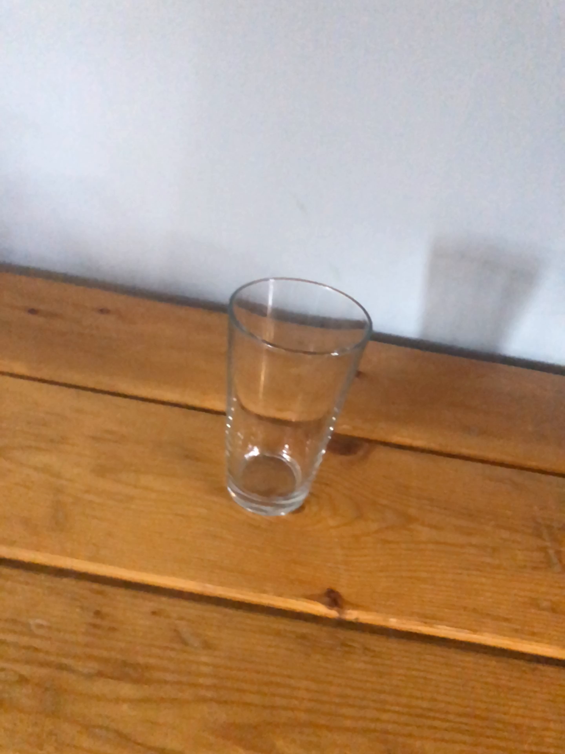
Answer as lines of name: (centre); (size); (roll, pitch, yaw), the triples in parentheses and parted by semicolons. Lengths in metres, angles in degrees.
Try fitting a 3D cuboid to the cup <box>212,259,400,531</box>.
cup: (0.005, 0.015, 0.411); (0.090, 0.149, 0.090); (6, 38, -5)
